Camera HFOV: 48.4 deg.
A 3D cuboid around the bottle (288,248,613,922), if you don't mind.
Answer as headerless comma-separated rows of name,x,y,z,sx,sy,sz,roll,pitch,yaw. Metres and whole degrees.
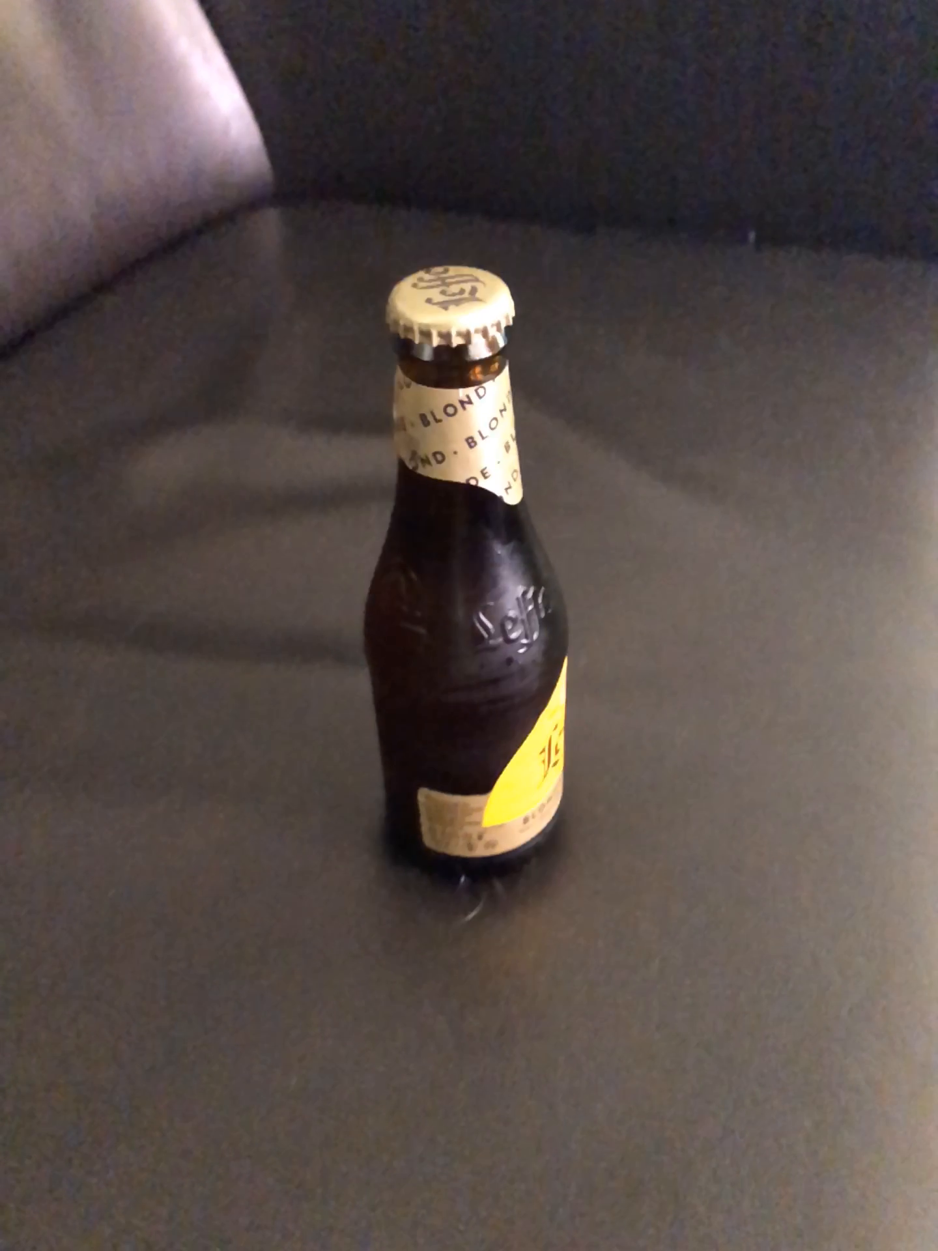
bottle,-0.001,0.002,0.290,0.060,0.189,0.060,0,44,0
